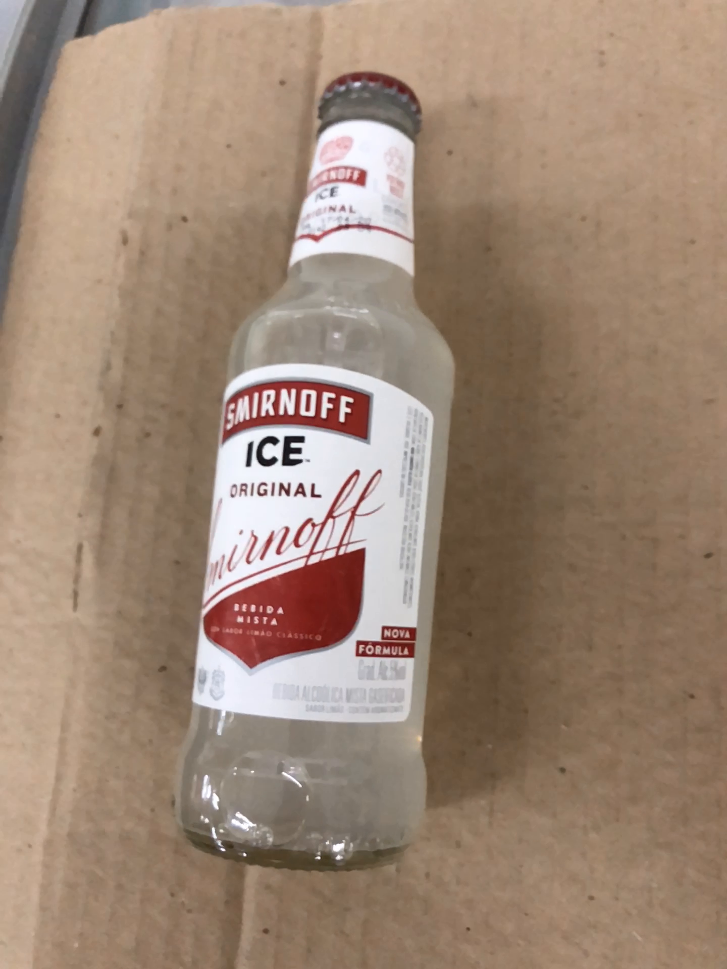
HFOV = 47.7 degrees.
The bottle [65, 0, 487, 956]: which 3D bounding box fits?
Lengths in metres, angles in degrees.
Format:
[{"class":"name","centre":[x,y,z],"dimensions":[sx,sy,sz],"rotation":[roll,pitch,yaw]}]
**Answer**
[{"class":"bottle","centre":[-0.013,-0.015,0.198],"dimensions":[0.070,0.050,0.210],"rotation":[2,80,14]}]
